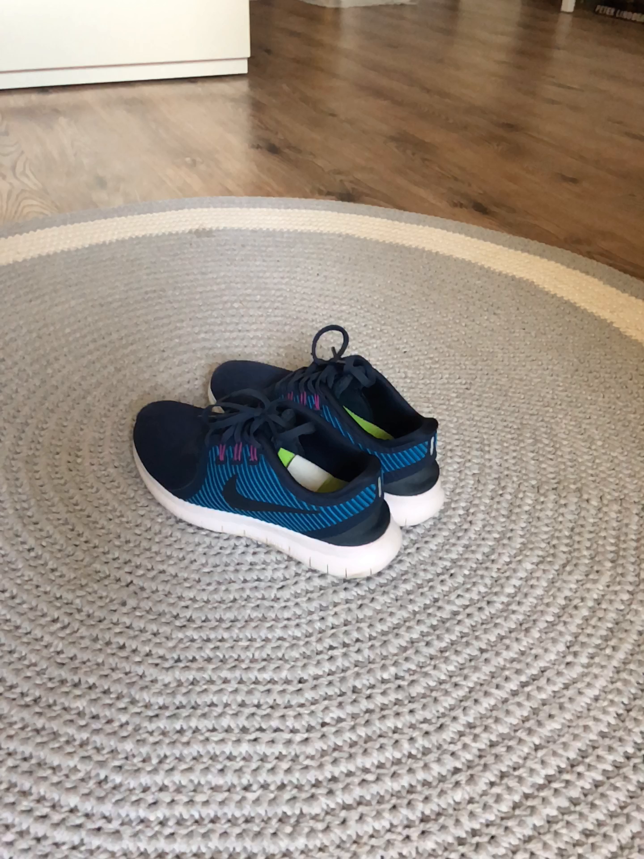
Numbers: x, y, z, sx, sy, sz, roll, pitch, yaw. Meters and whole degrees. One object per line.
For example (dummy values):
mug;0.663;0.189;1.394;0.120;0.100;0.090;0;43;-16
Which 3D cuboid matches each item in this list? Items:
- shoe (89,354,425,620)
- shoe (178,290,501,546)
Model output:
shoe;-0.055;0.034;0.564;0.244;0.080;0.100;24;42;25
shoe;0.004;-0.024;0.615;0.270;0.080;0.100;30;45;31
